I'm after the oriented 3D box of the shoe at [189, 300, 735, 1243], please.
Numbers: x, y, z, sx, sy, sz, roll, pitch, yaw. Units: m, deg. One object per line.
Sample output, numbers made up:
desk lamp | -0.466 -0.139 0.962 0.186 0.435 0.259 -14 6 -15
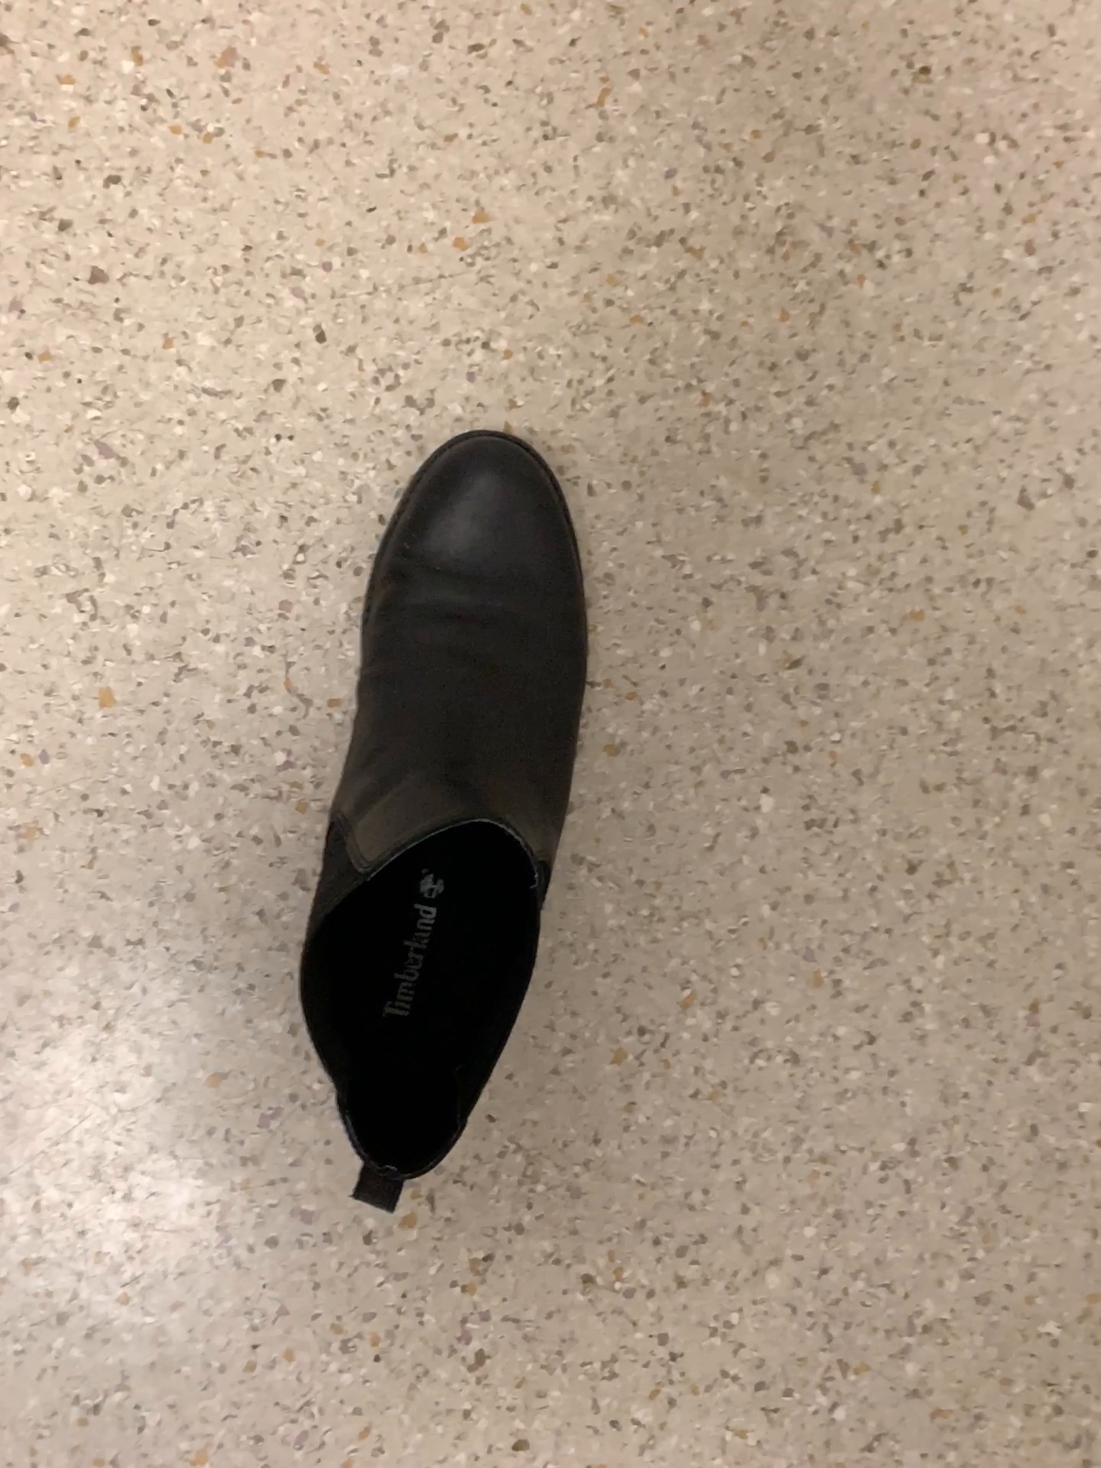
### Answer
shoe | -0.034 0.014 0.415 0.107 0.164 0.262 13 84 -8
